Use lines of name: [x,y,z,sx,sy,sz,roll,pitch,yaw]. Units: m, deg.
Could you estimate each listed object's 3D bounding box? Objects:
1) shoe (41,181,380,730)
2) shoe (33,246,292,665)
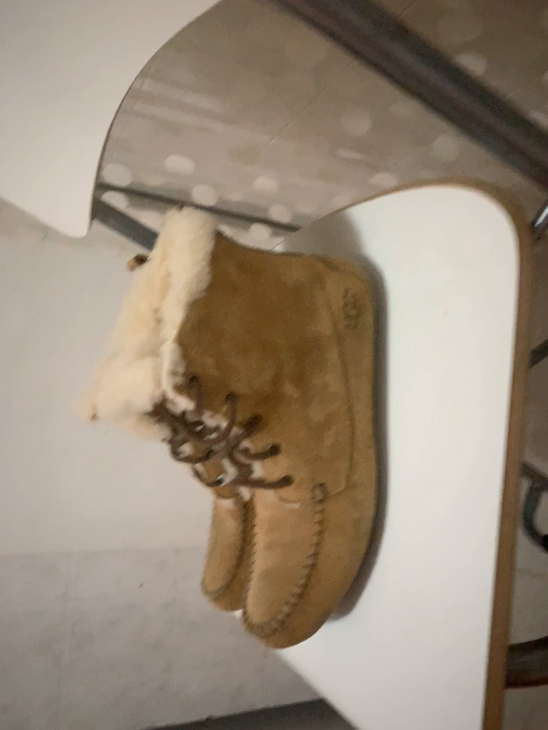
shoe: [-0.038,0.051,0.330,0.114,0.156,0.251,162,111,-63]
shoe: [-0.082,0.062,0.420,0.107,0.155,0.251,162,111,-63]
